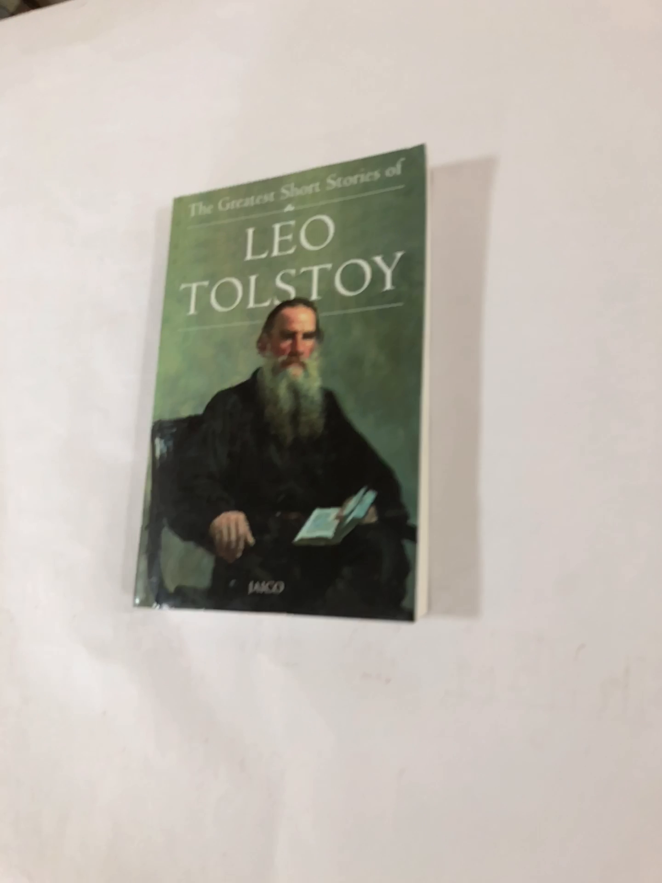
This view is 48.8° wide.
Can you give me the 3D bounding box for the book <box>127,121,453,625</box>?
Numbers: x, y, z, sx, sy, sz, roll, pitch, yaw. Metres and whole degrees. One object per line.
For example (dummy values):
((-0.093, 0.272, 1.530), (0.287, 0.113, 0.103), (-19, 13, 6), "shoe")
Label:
((-0.018, -0.033, 0.353), (0.151, 0.020, 0.230), (-3, 75, 21), "book")
